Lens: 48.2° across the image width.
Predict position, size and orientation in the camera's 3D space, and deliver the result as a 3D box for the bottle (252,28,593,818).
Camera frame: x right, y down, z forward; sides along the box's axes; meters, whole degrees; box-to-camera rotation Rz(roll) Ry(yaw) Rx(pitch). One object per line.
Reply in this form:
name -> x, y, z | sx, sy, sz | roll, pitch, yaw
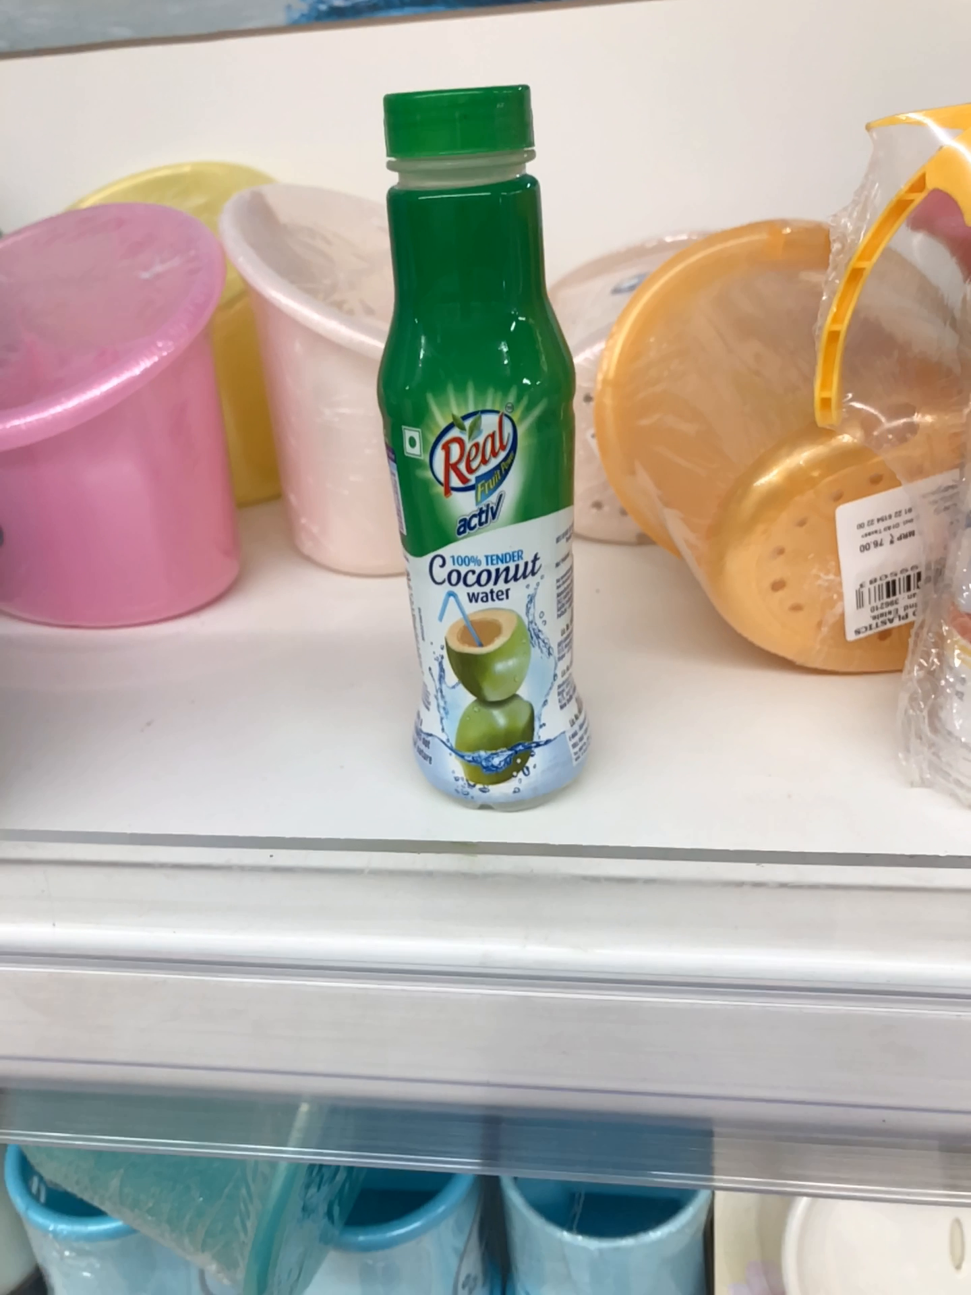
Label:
bottle -> -0.007, -0.049, 0.270 | 0.060, 0.179, 0.060 | -3, 29, 2
